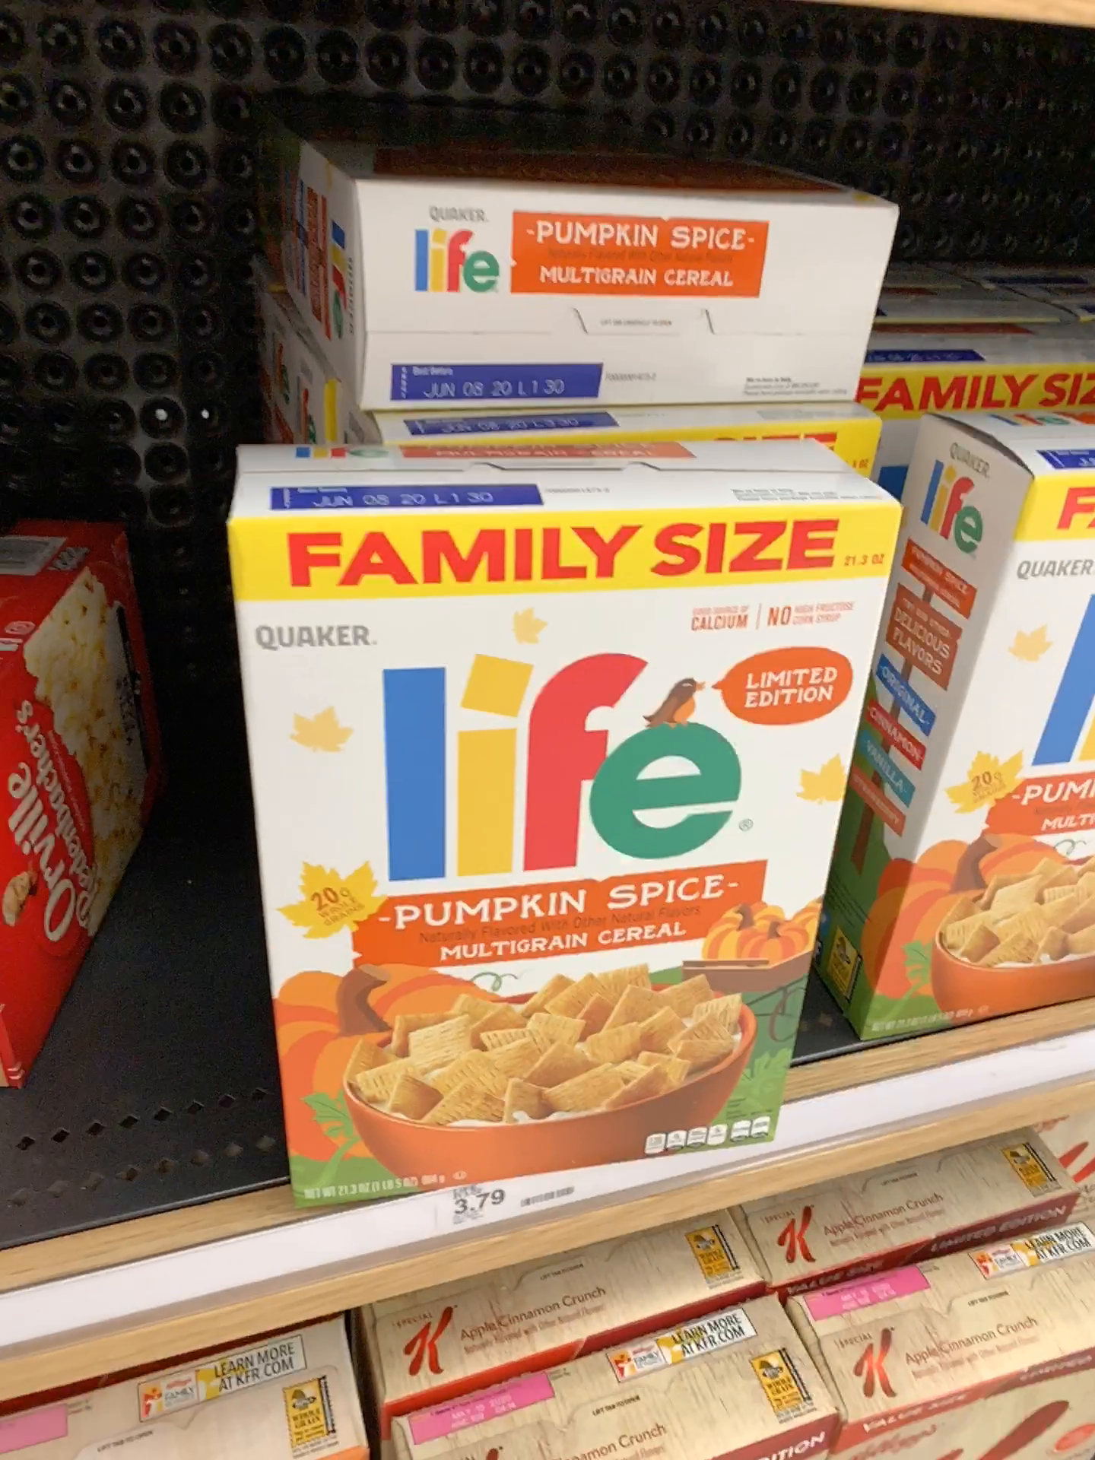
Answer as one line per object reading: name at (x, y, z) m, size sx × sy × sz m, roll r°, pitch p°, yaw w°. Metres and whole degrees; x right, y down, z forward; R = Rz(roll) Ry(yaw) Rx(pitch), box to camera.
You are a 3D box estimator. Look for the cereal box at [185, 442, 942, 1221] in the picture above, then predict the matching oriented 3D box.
cereal box at (-0.003, 0.037, 0.379) m, size 0.200 × 0.249 × 0.070 m, roll -3°, pitch 29°, yaw -12°
